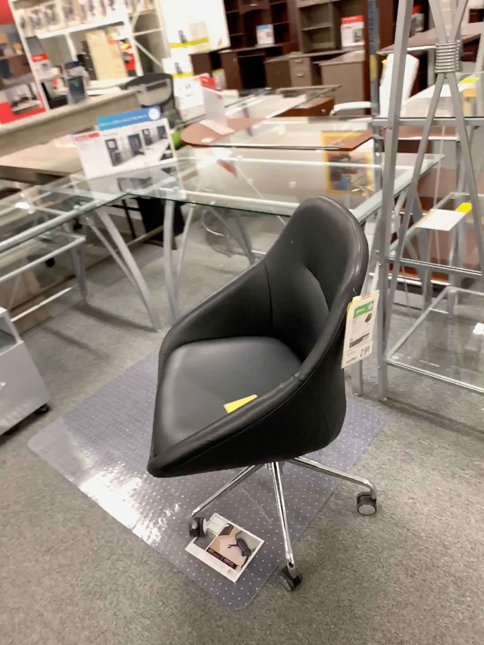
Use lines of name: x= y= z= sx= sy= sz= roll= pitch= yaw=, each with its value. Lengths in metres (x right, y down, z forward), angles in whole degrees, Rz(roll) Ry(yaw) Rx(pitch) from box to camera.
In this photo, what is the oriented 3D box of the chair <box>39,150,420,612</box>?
chair: x=0.026 y=0.132 z=1.313 sx=0.620 sy=0.885 sz=0.674 roll=-11 pitch=32 yaw=1
